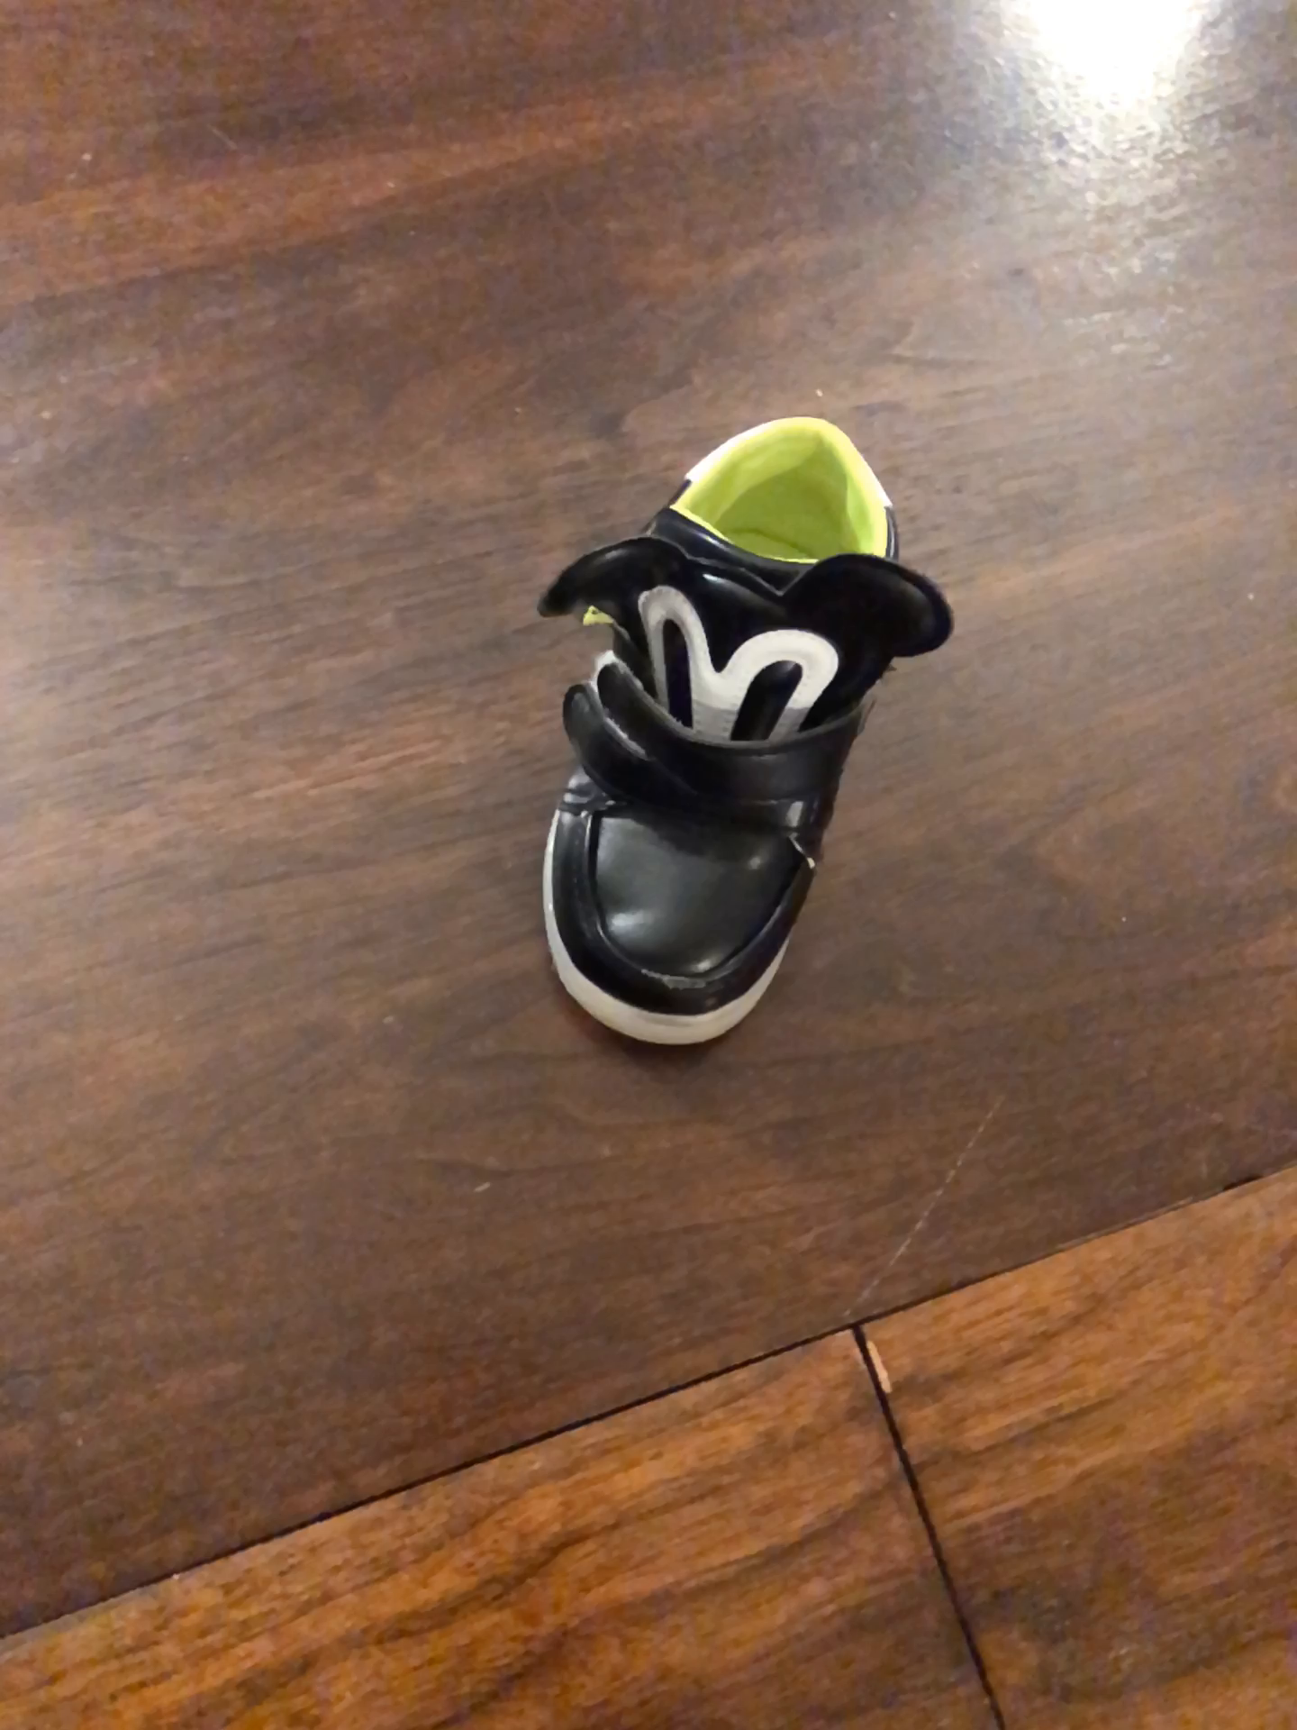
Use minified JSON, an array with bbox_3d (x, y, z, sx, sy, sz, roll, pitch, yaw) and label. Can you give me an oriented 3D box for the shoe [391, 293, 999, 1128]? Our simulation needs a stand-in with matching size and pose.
[{"bbox_3d":[0.011,-0.031,0.341,0.090,0.100,0.150,16,70,1],"label":"shoe"}]
